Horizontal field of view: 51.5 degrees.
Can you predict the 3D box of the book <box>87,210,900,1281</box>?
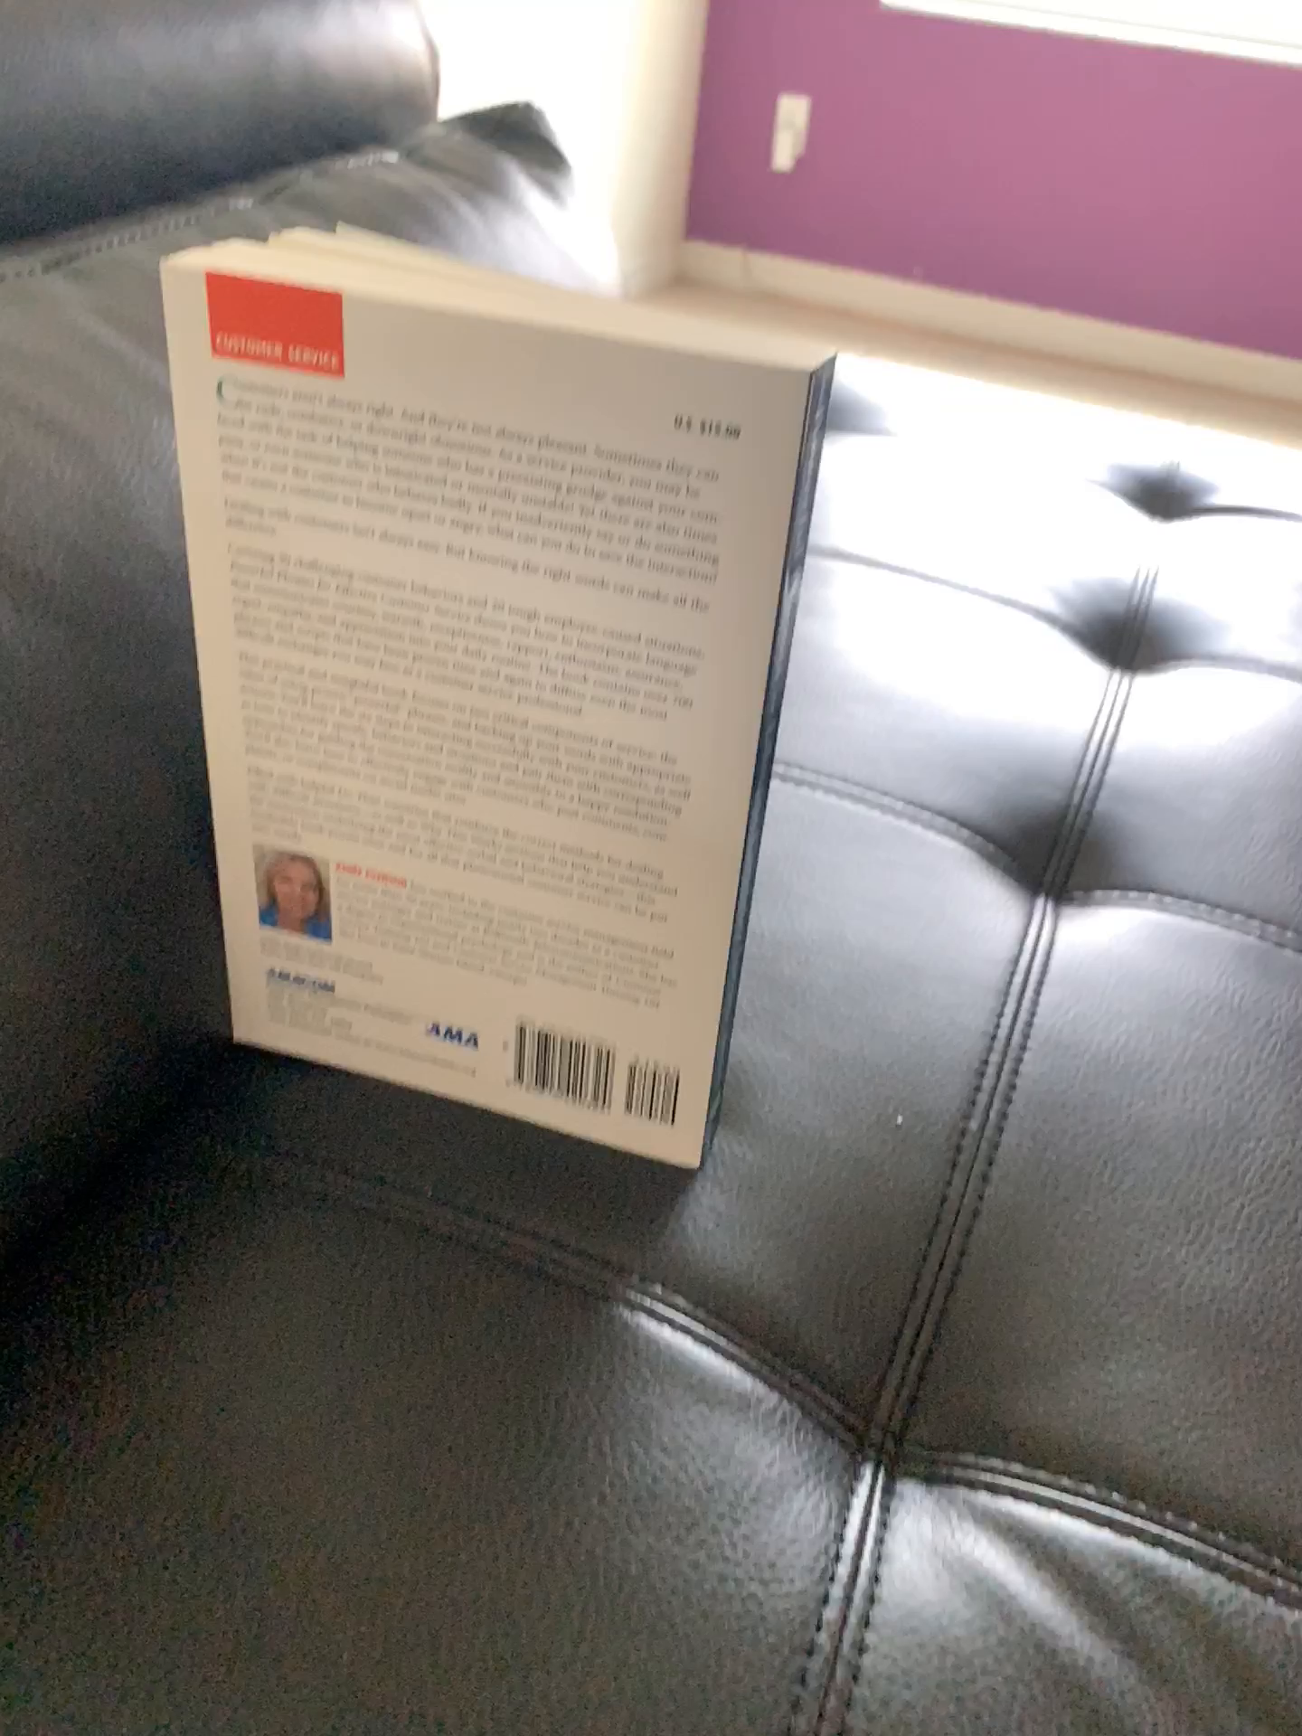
[{"bbox_3d":[-0.046,-0.028,0.373,0.162,0.246,0.083,20,37,18],"label":"book"}]
